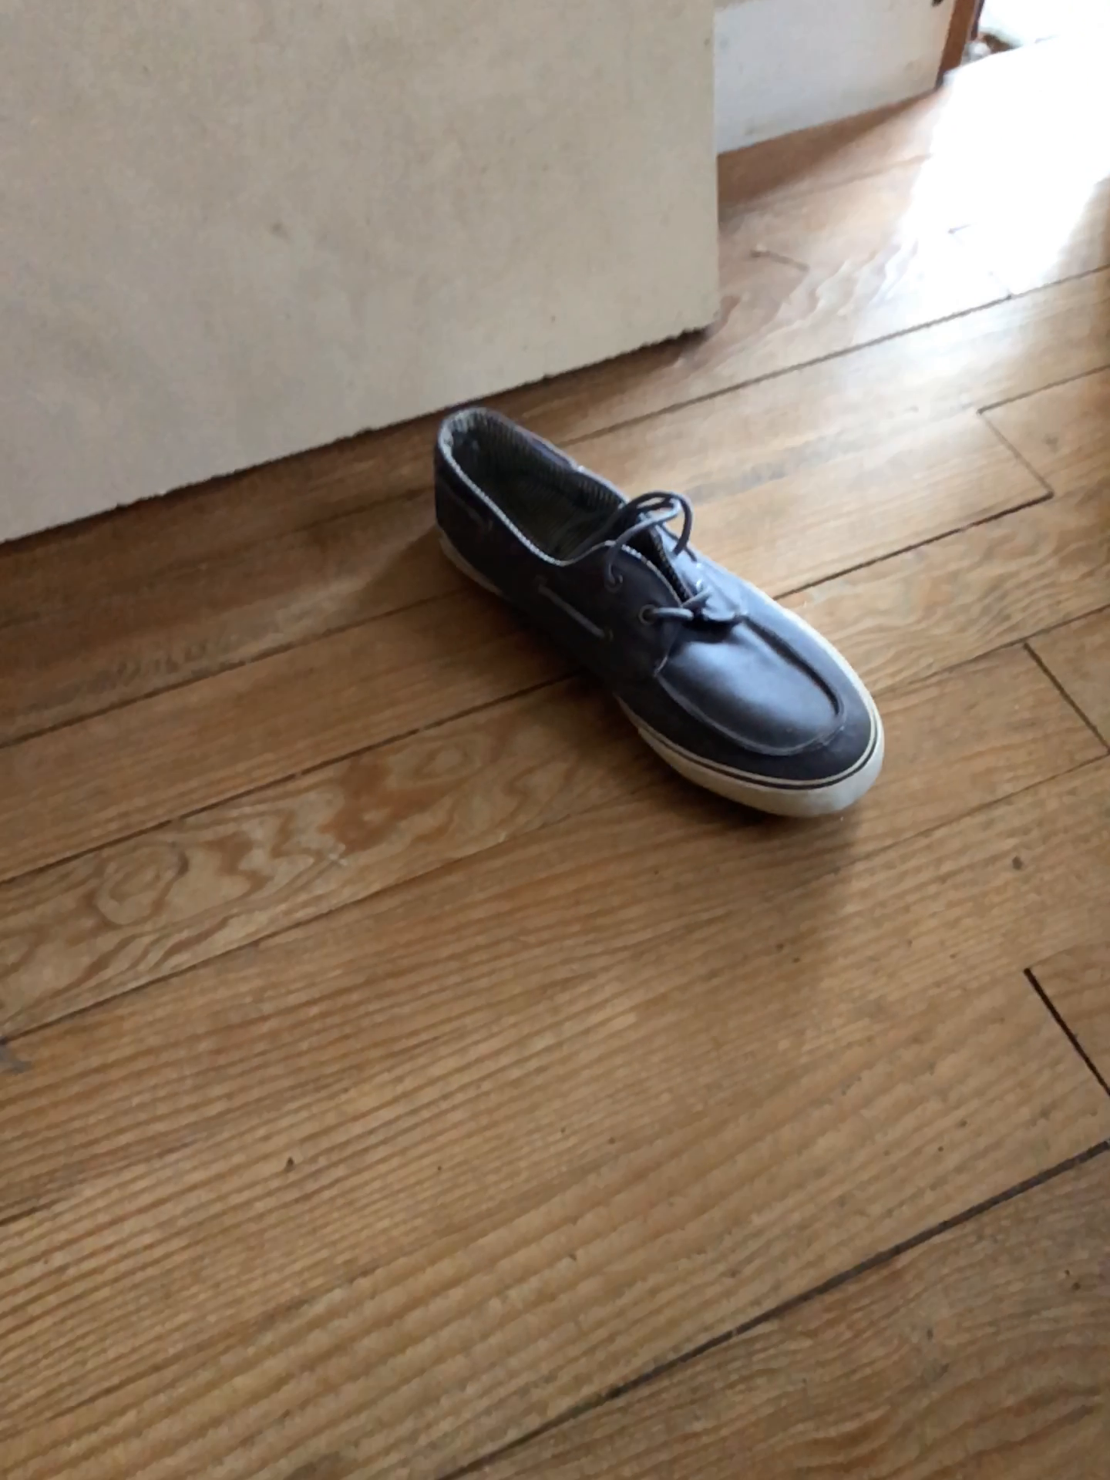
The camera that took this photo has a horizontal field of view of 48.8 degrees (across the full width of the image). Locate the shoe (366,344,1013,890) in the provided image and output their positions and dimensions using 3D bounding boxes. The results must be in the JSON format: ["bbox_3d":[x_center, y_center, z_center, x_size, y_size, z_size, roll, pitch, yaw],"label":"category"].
[{"bbox_3d":[0.049,-0.064,0.540,0.270,0.060,0.100,38,65,21],"label":"shoe"}]
